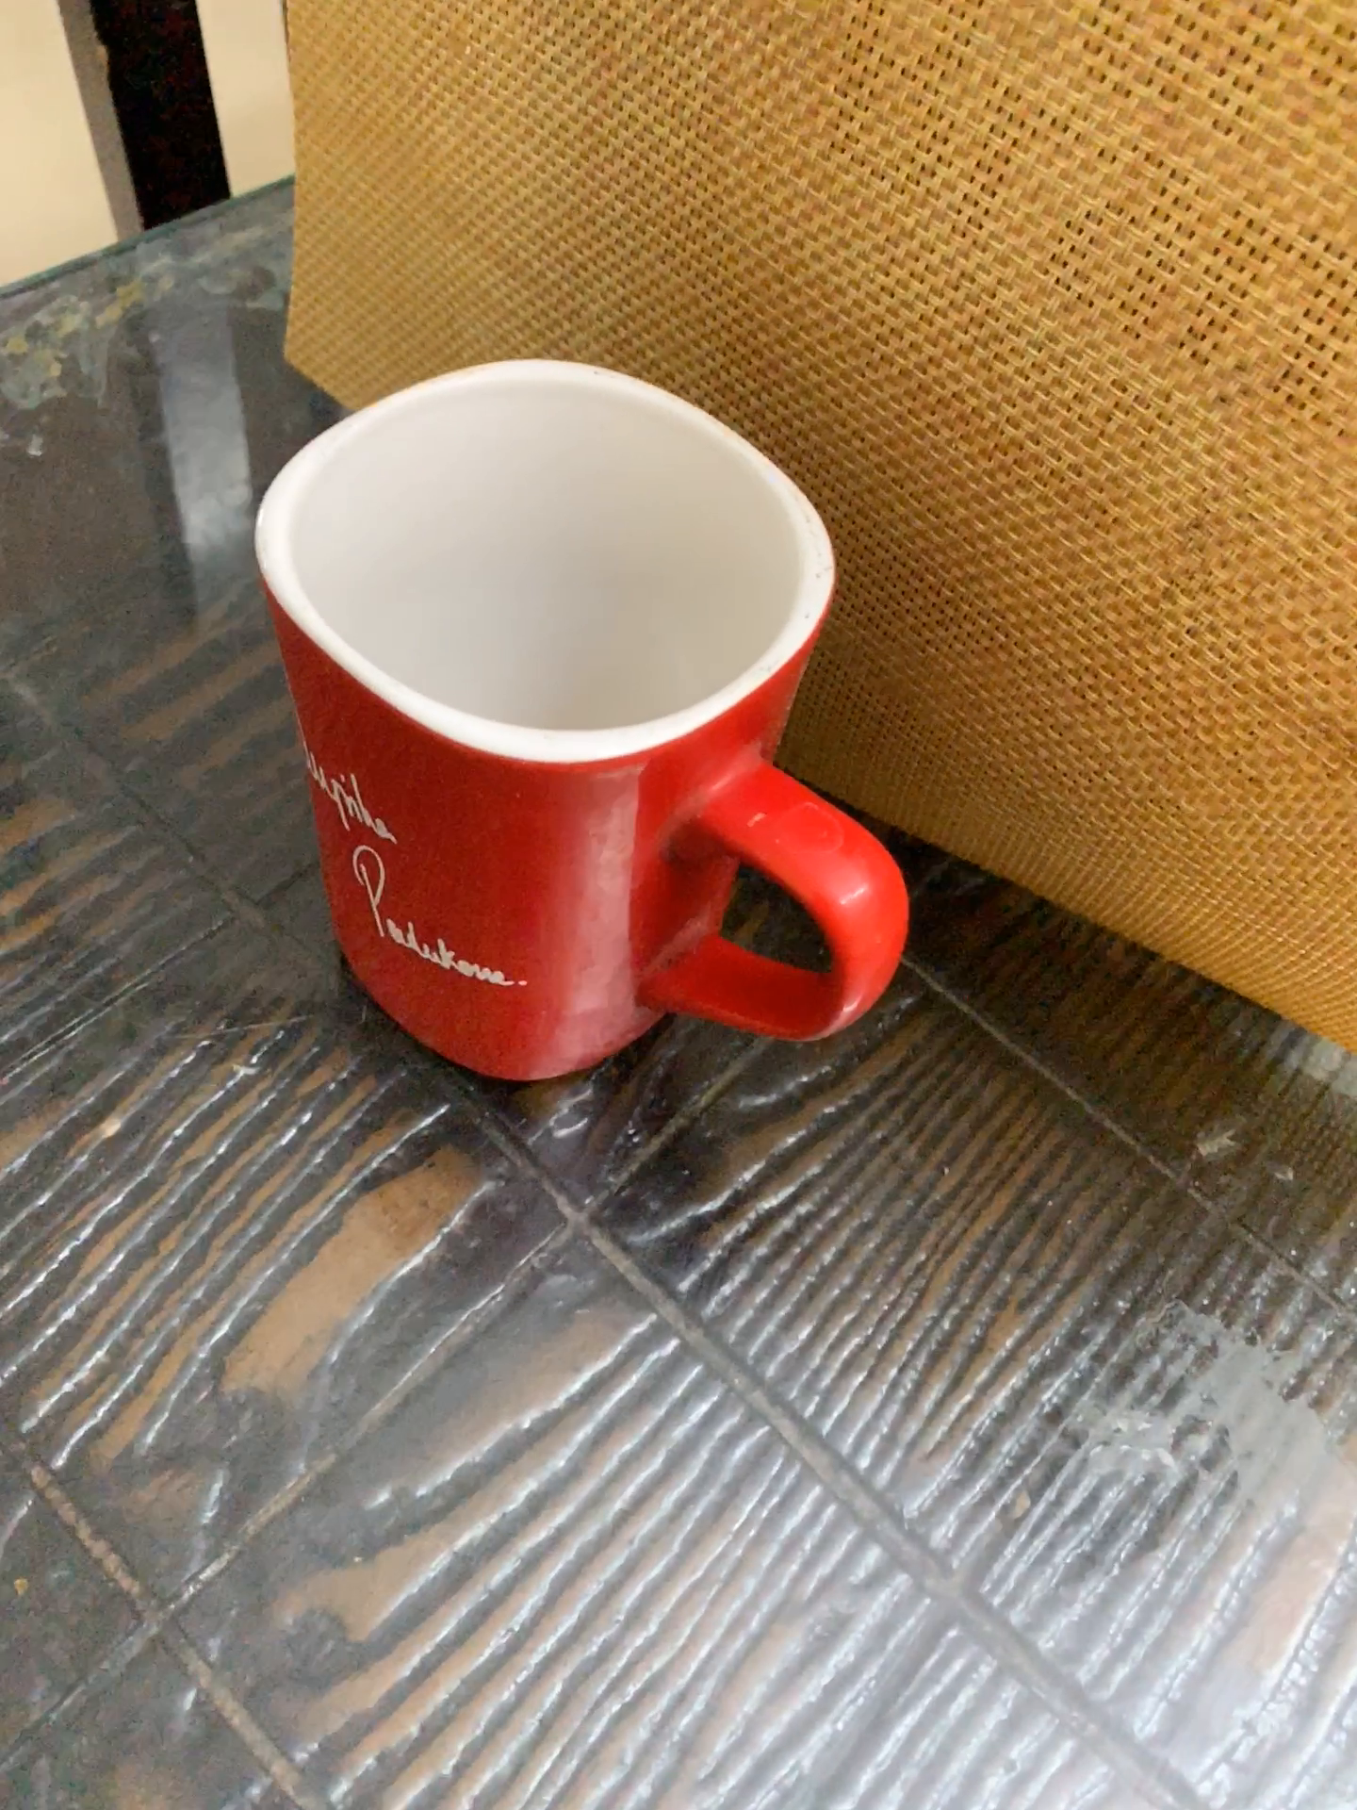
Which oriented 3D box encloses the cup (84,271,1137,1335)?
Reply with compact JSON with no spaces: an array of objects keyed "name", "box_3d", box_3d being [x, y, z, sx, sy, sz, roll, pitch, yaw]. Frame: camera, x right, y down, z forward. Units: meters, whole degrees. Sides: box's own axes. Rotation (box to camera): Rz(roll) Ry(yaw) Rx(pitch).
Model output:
[{"name":"cup","box_3d":[-0.011,-0.013,0.193,0.096,0.085,0.070,36,58,17]}]
